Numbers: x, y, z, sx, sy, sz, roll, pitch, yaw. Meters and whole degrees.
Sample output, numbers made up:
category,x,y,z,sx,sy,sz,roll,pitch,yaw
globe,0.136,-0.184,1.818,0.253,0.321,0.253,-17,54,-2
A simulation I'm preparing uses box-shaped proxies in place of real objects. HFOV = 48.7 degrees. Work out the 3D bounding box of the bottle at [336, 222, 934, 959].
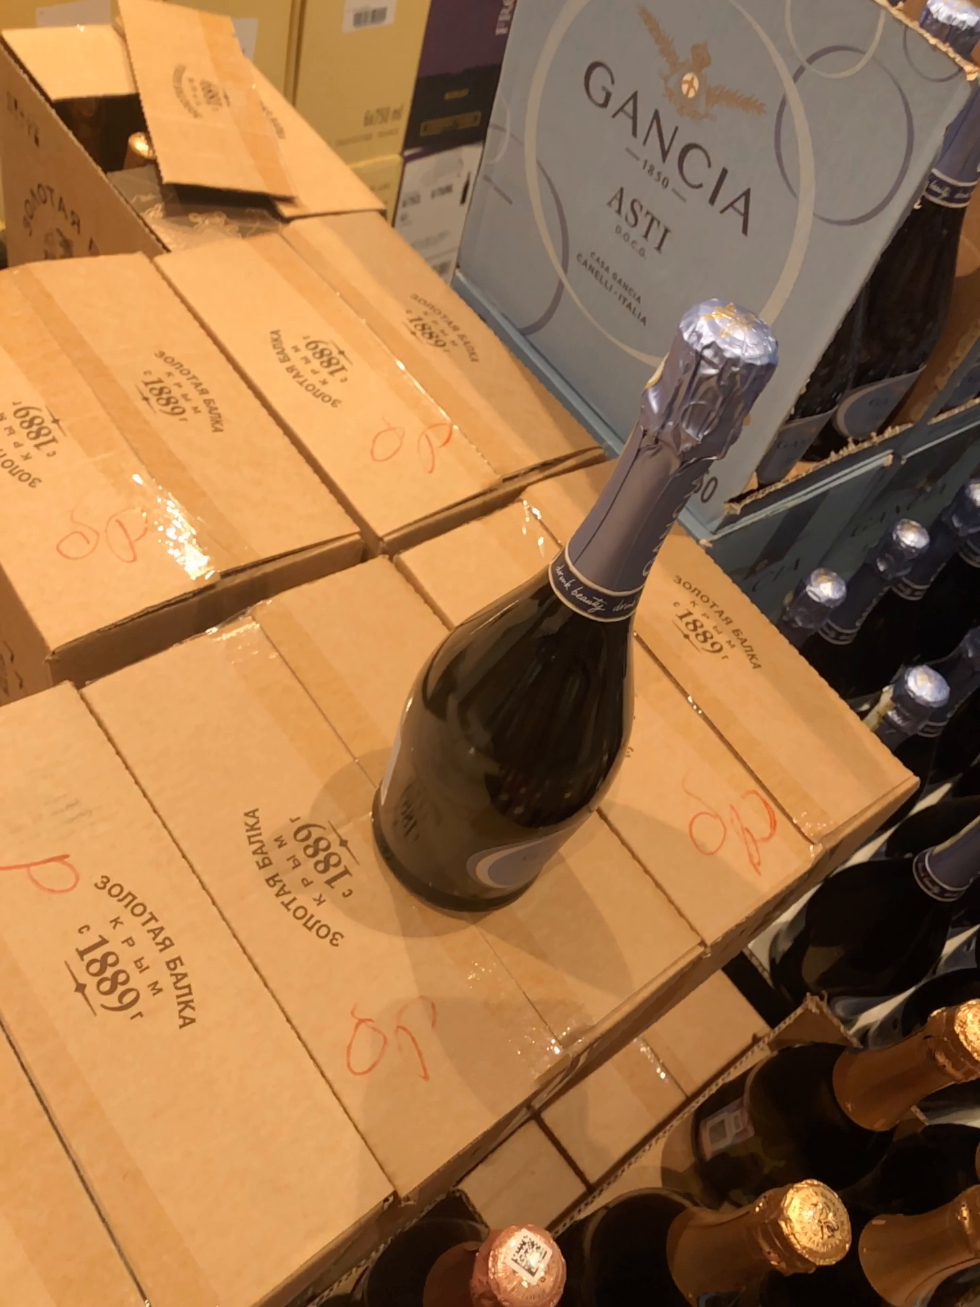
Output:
category,x,y,z,sx,sy,sz,roll,pitch,yaw
bottle,0.029,0.000,0.423,0.102,0.298,0.090,-29,67,-33
